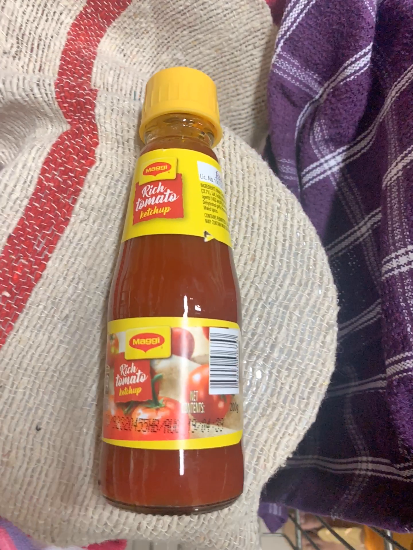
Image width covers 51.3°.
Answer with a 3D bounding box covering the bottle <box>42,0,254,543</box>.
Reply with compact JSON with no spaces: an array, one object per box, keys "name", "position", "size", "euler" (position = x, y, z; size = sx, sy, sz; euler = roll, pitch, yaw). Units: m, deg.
[{"name":"bottle","position":[-0.016,-0.008,0.159],"size":[0.050,0.050,0.170],"euler":[-5,76,21]}]
